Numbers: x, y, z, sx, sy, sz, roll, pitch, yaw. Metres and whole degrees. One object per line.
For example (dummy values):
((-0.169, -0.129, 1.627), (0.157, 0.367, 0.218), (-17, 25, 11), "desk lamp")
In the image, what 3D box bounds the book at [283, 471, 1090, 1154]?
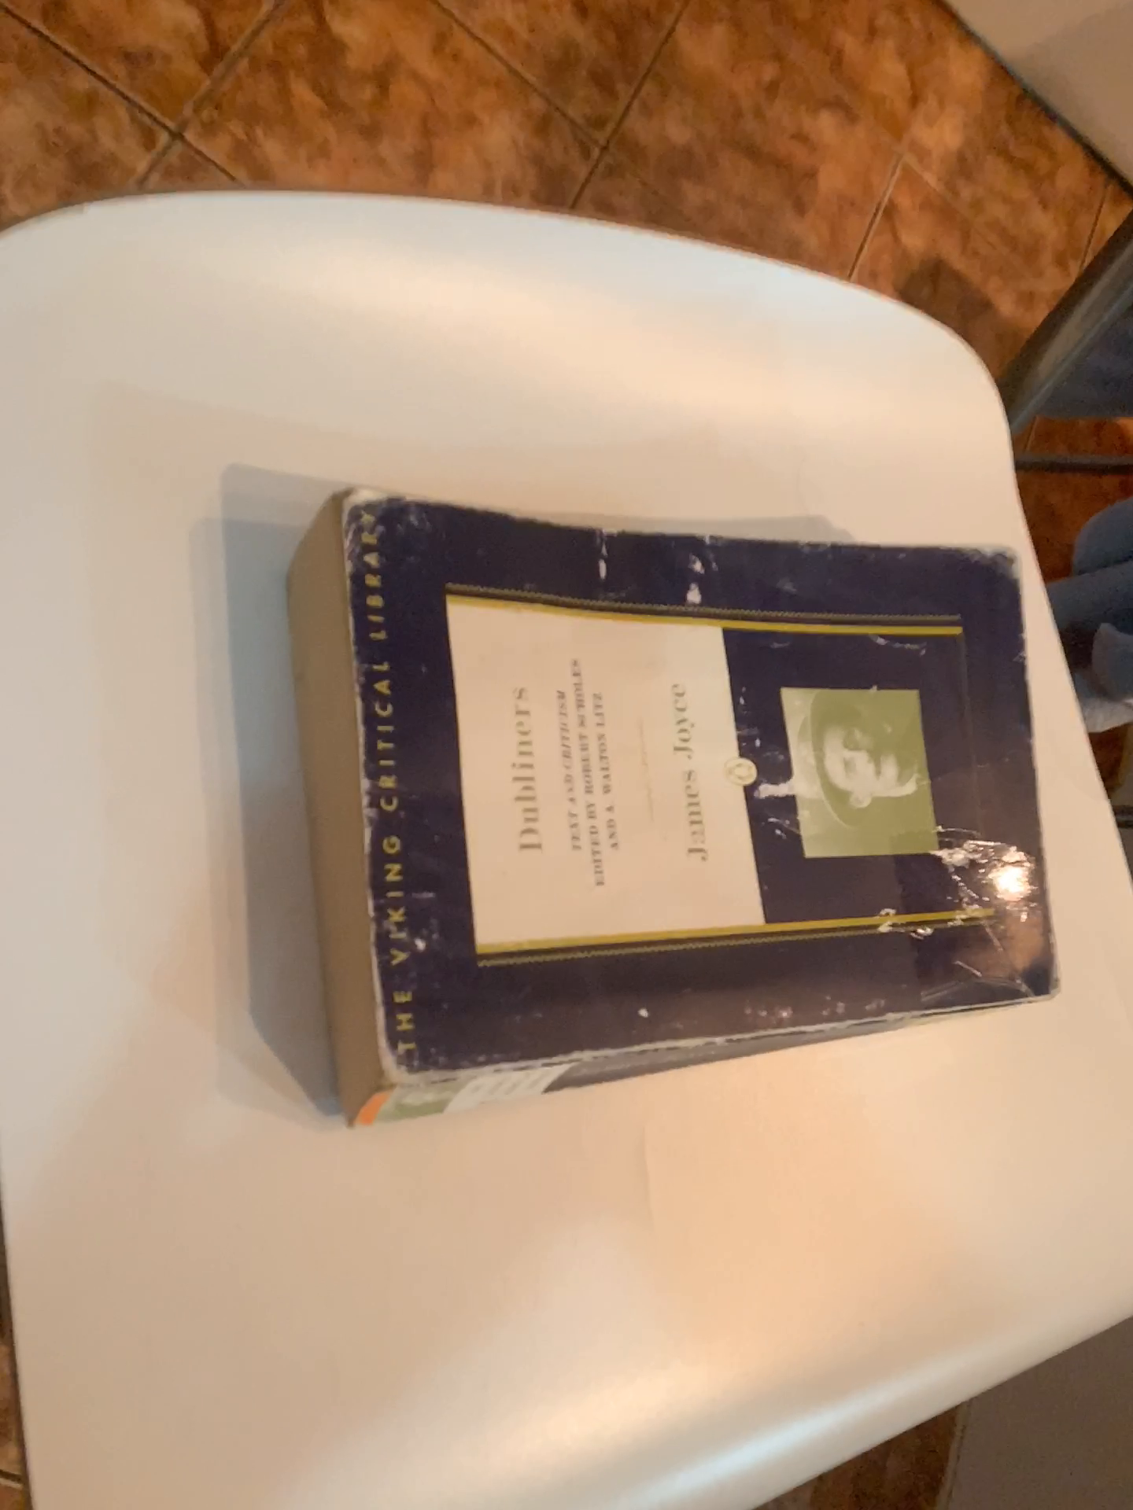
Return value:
((0.038, 0.009, 0.286), (0.198, 0.035, 0.132), (-1, 80, -29), "book")
